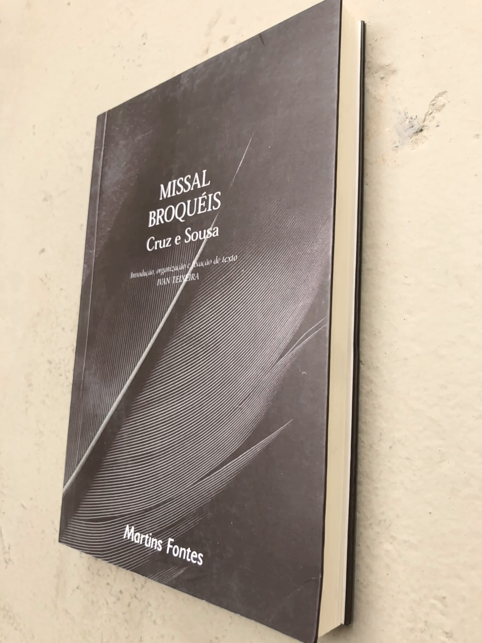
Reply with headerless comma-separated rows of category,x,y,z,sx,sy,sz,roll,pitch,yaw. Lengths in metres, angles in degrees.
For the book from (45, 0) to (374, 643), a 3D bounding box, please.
book,-0.018,-0.003,0.189,0.128,0.016,0.173,-4,79,40
